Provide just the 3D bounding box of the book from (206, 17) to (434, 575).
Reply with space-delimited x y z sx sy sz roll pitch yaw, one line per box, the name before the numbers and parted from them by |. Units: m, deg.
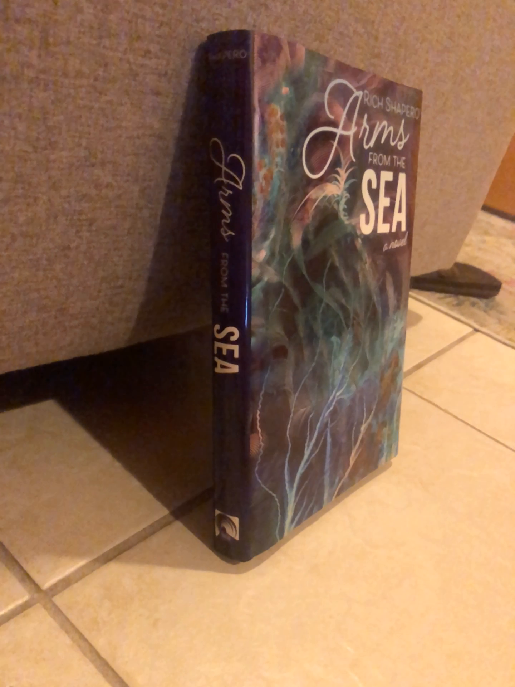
book | 0.040 -0.024 0.302 0.030 0.228 0.157 10 16 37
